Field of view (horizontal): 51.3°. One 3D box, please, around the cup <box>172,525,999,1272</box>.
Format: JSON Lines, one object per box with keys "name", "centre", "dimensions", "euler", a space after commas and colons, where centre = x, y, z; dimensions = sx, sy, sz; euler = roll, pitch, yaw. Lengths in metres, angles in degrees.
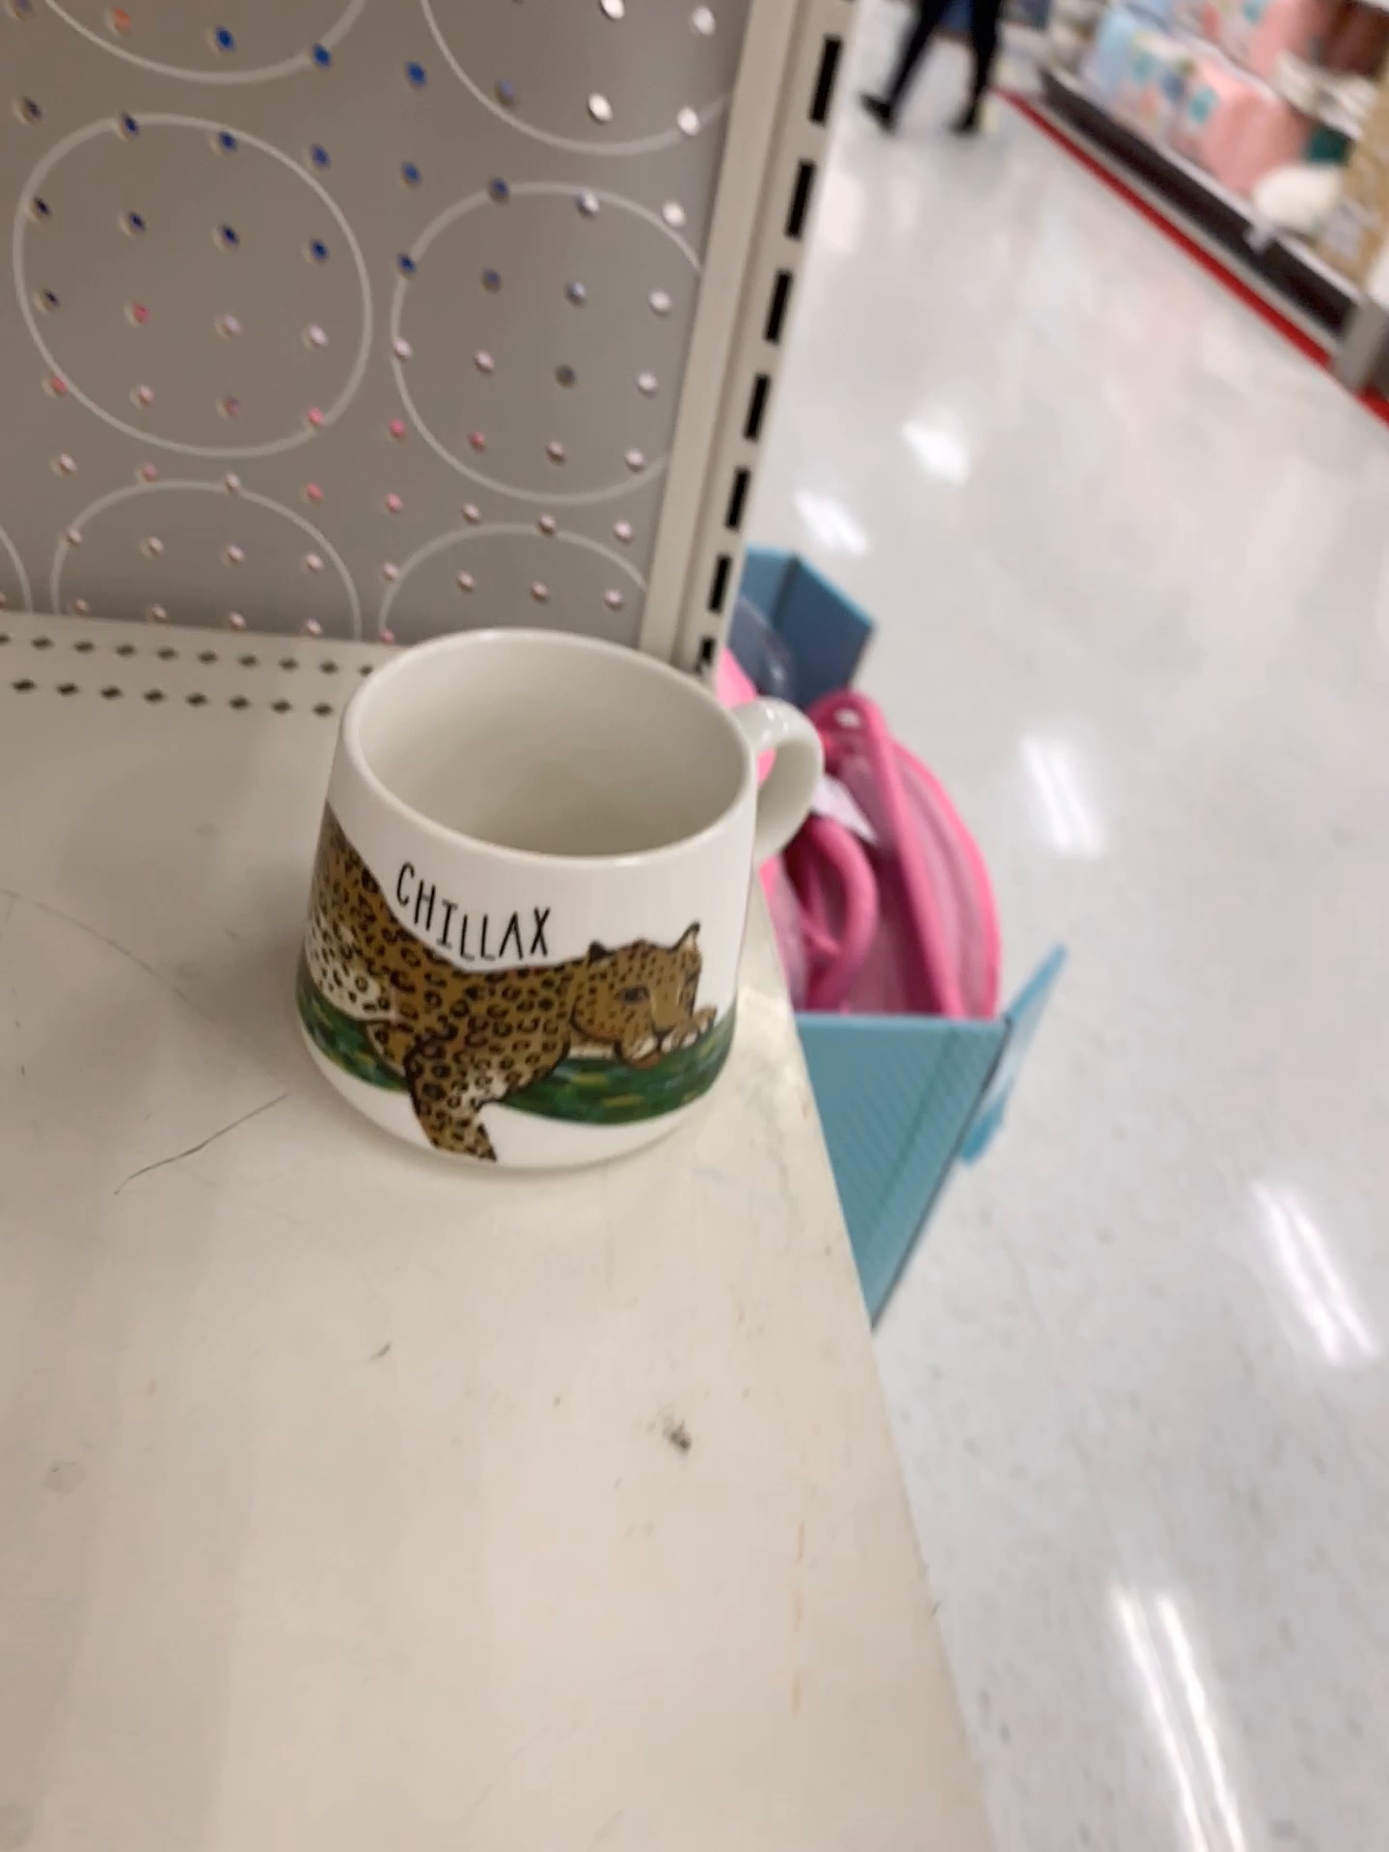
{"name": "cup", "centre": [-0.027, -0.017, 0.338], "dimensions": [0.140, 0.090, 0.110], "euler": [-23, 51, -36]}
